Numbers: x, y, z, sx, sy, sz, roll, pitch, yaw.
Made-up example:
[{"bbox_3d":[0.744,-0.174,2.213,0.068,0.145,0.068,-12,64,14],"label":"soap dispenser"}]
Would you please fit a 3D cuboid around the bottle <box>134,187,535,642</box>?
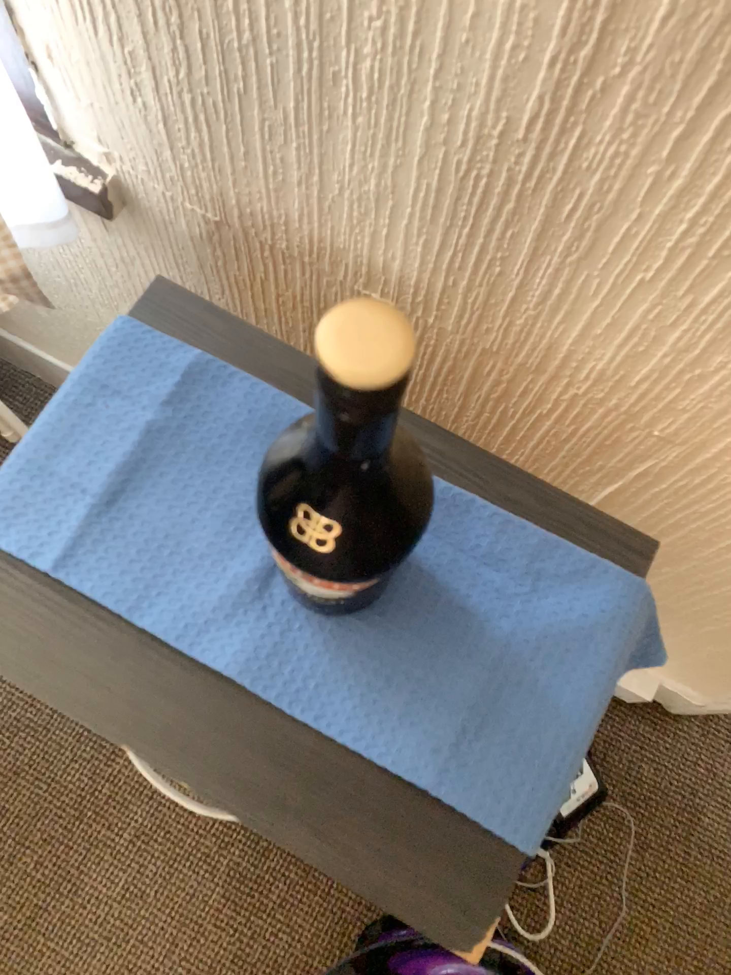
[{"bbox_3d":[-0.015,0.004,0.345,0.090,0.289,0.070,28,73,6],"label":"bottle"}]
